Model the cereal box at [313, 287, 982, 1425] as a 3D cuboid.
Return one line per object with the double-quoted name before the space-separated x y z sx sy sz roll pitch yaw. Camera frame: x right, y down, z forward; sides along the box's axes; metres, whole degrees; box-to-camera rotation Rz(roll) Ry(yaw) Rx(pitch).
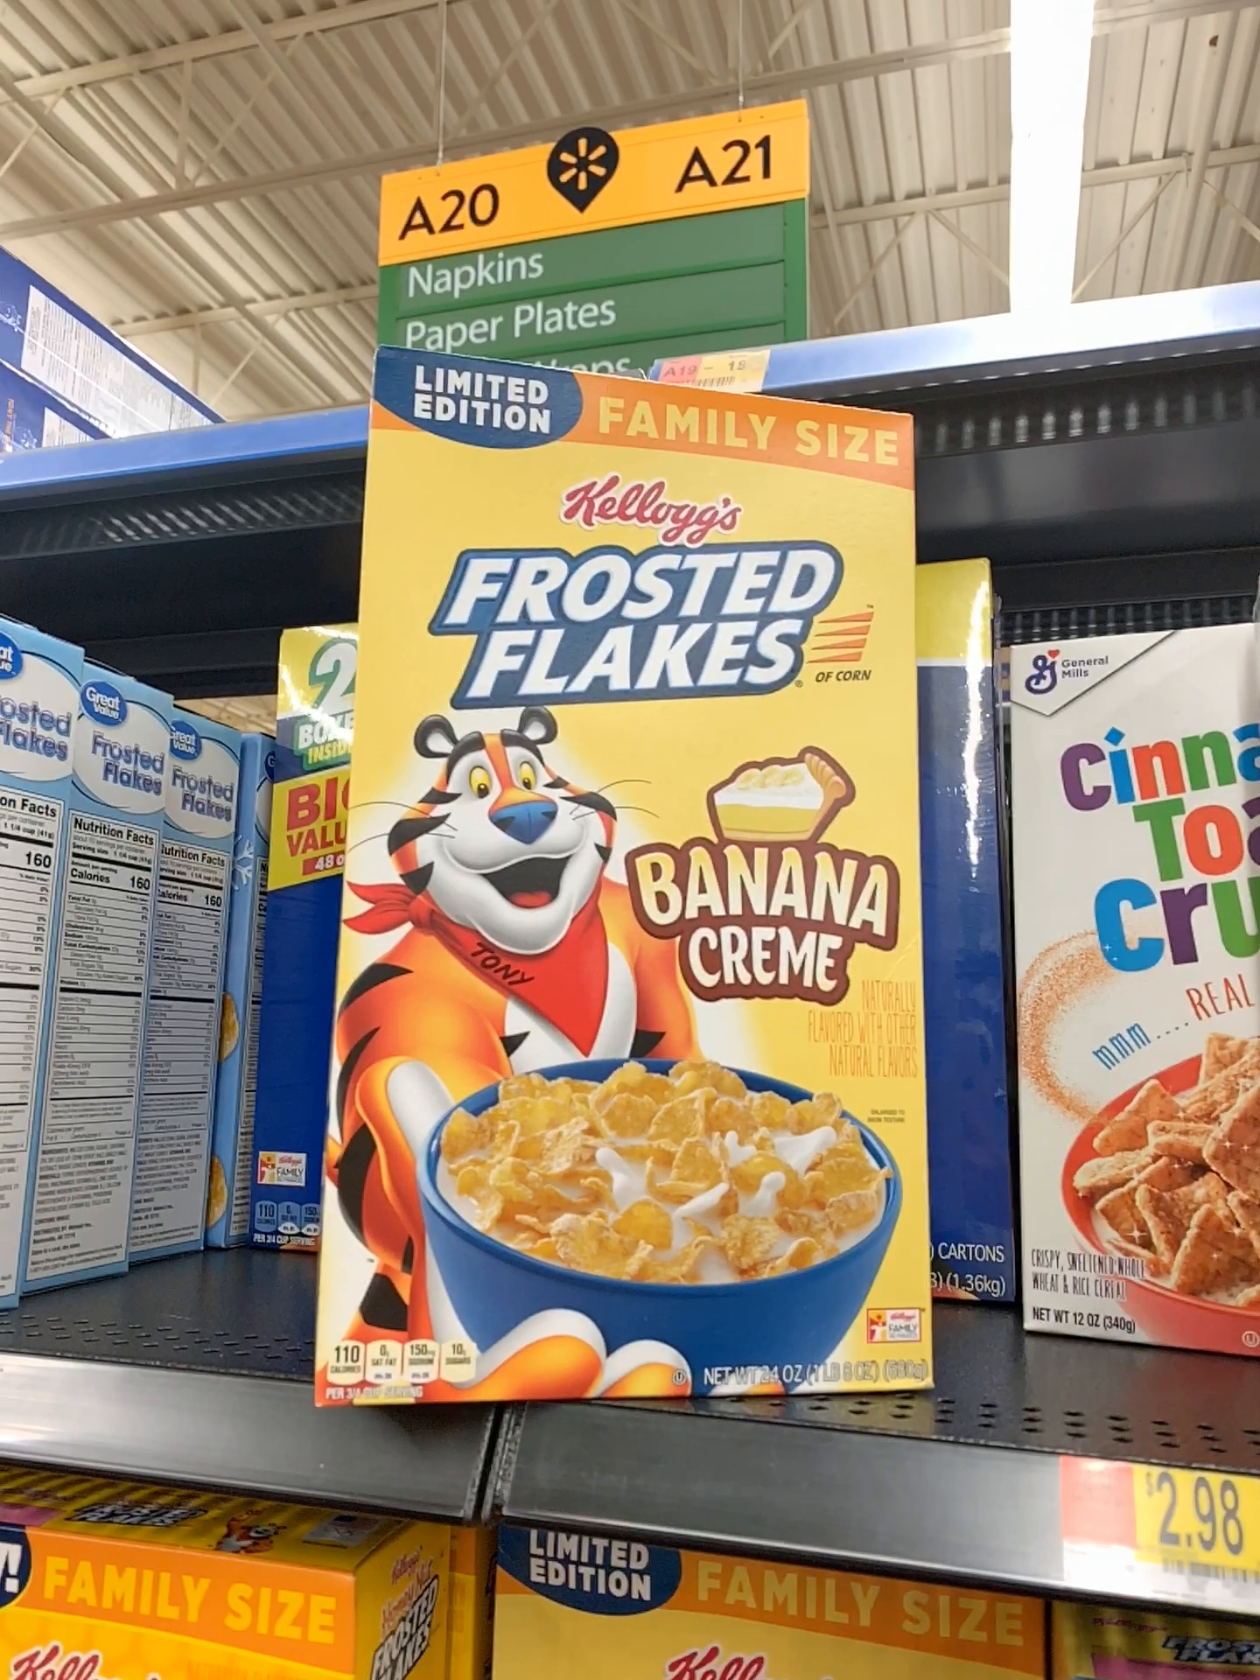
"cereal box" 0.007 0.004 0.442 0.200 0.341 0.080 4 -10 -12
